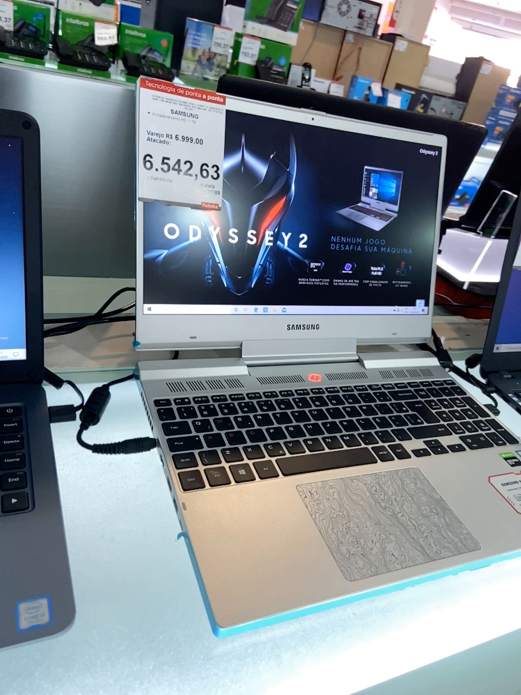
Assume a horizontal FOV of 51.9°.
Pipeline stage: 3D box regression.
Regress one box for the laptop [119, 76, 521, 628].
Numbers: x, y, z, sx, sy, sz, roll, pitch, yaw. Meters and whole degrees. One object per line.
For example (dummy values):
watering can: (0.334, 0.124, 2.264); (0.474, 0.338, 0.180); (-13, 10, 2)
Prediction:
laptop: (0.096, -0.044, 0.458); (0.354, 0.225, 0.369); (-1, 33, -25)
